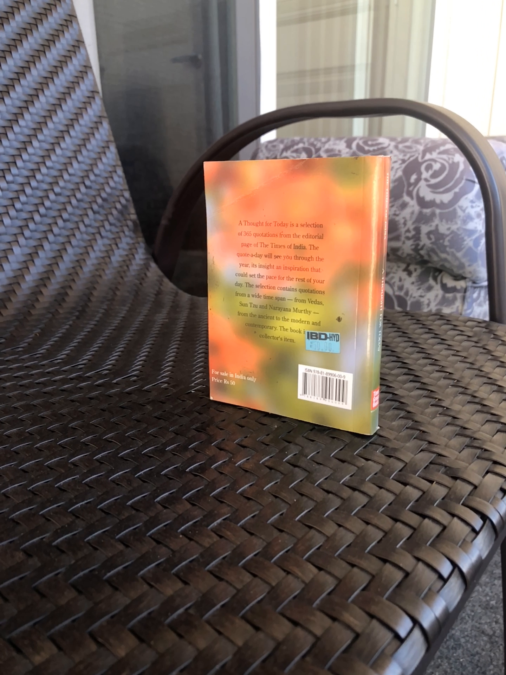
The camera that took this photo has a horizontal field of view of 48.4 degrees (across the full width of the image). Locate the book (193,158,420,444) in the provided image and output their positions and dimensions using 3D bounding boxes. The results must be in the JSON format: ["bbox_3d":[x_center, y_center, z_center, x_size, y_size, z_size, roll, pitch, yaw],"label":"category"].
[{"bbox_3d":[0.022,-0.024,0.288,0.106,0.129,0.031,10,18,30],"label":"book"}]
